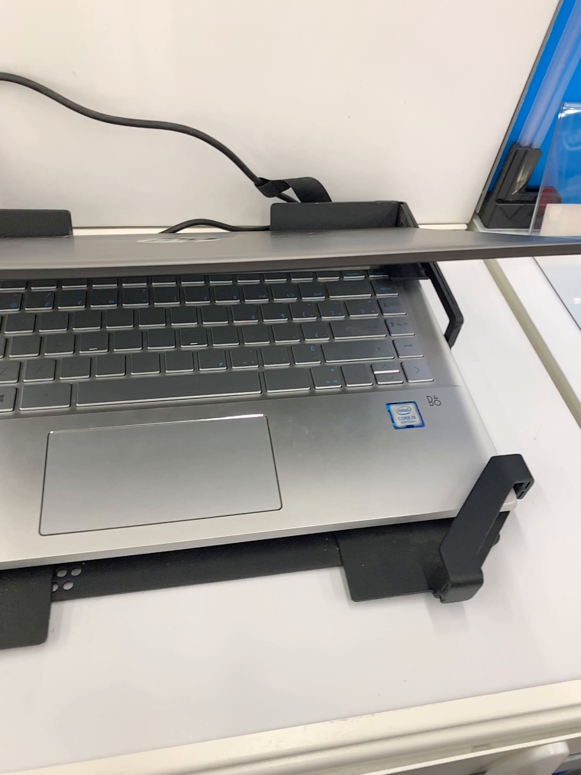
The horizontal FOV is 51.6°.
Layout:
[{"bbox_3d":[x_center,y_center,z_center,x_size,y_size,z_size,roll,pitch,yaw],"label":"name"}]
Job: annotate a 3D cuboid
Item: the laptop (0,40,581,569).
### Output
[{"bbox_3d":[-0.048,-0.049,0.266,0.283,0.111,0.194,-4,51,-8],"label":"laptop"}]
